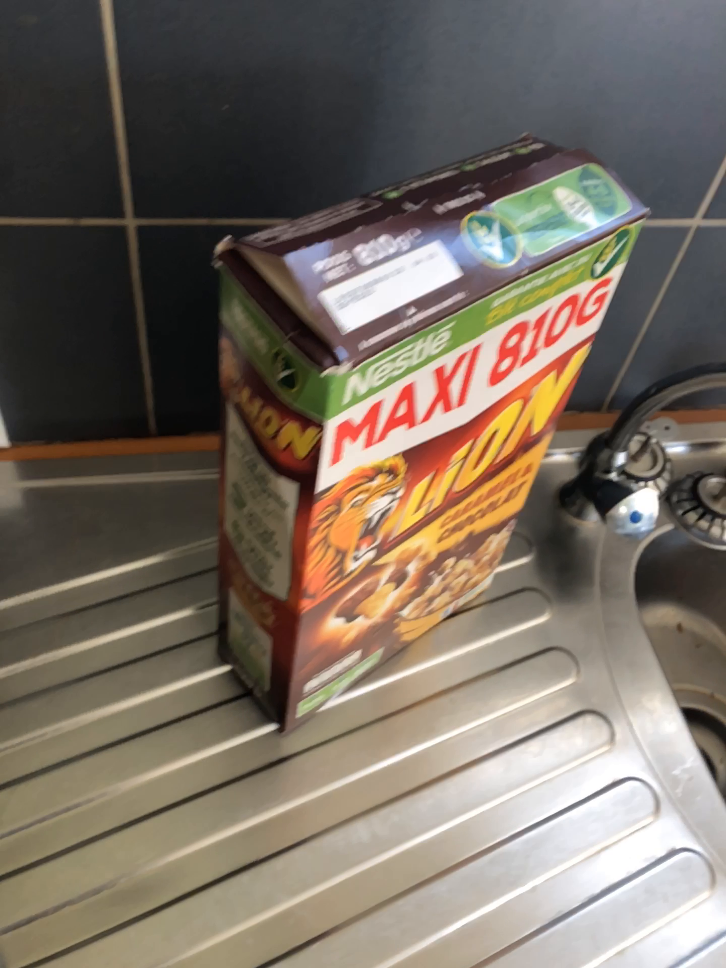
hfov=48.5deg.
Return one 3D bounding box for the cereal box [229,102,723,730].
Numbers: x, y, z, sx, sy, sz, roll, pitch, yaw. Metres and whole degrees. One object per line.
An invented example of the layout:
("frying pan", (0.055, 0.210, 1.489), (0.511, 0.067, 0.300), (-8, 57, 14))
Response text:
("cereal box", (0.034, -0.015, 0.443), (0.201, 0.318, 0.080), (-28, 61, -28))
